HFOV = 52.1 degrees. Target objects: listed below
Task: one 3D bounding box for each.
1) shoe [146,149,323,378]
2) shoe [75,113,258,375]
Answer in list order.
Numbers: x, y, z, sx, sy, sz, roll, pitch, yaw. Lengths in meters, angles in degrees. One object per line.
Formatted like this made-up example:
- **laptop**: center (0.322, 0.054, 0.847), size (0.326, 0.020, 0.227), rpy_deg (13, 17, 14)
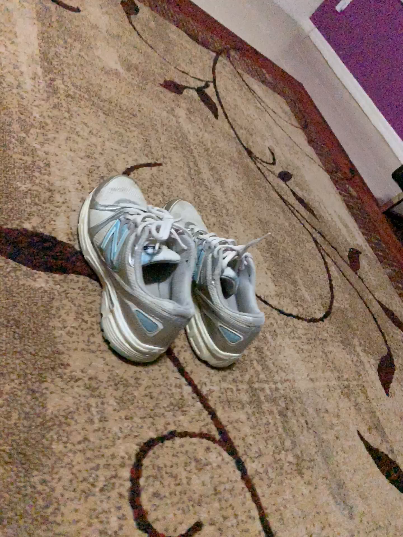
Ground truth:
- **shoe**: center (0.032, -0.010, 0.578), size (0.104, 0.124, 0.284), rpy_deg (9, 50, -42)
- **shoe**: center (-0.058, -0.031, 0.504), size (0.111, 0.124, 0.284), rpy_deg (11, 49, -41)
